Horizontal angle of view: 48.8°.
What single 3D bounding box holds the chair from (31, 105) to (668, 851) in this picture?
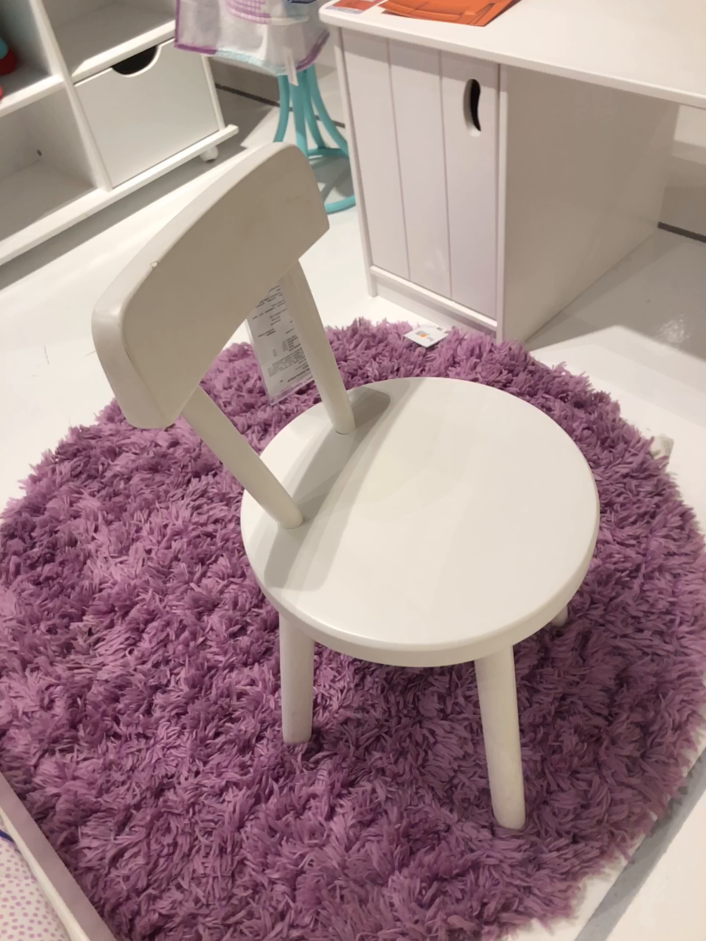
[{"bbox_3d":[0.052,0.038,0.702,0.310,0.576,0.322,11,51,19],"label":"chair"}]
